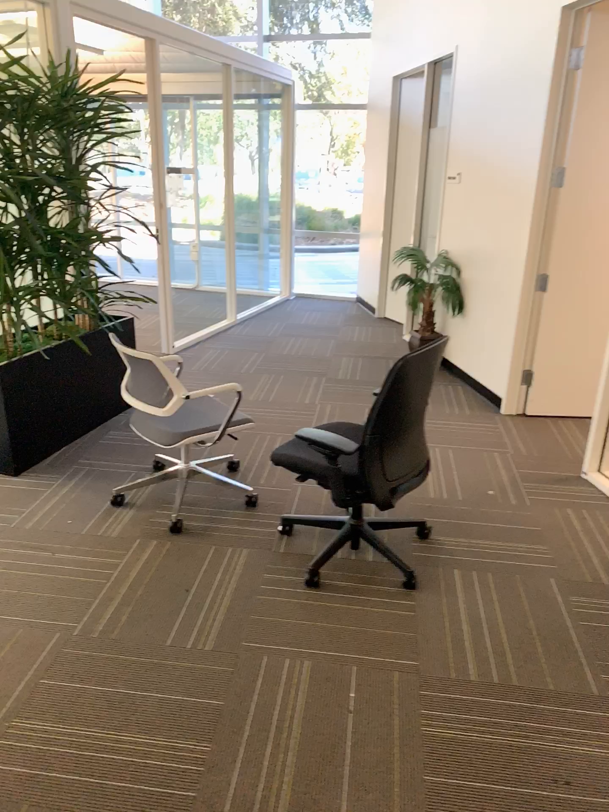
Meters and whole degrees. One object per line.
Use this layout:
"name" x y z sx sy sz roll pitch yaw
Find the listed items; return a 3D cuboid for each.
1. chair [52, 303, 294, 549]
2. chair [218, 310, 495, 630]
"chair" -0.617 0.021 2.982 0.741 0.796 0.844 -18 28 -41
"chair" 0.202 0.170 2.507 0.743 0.885 0.771 17 25 35
